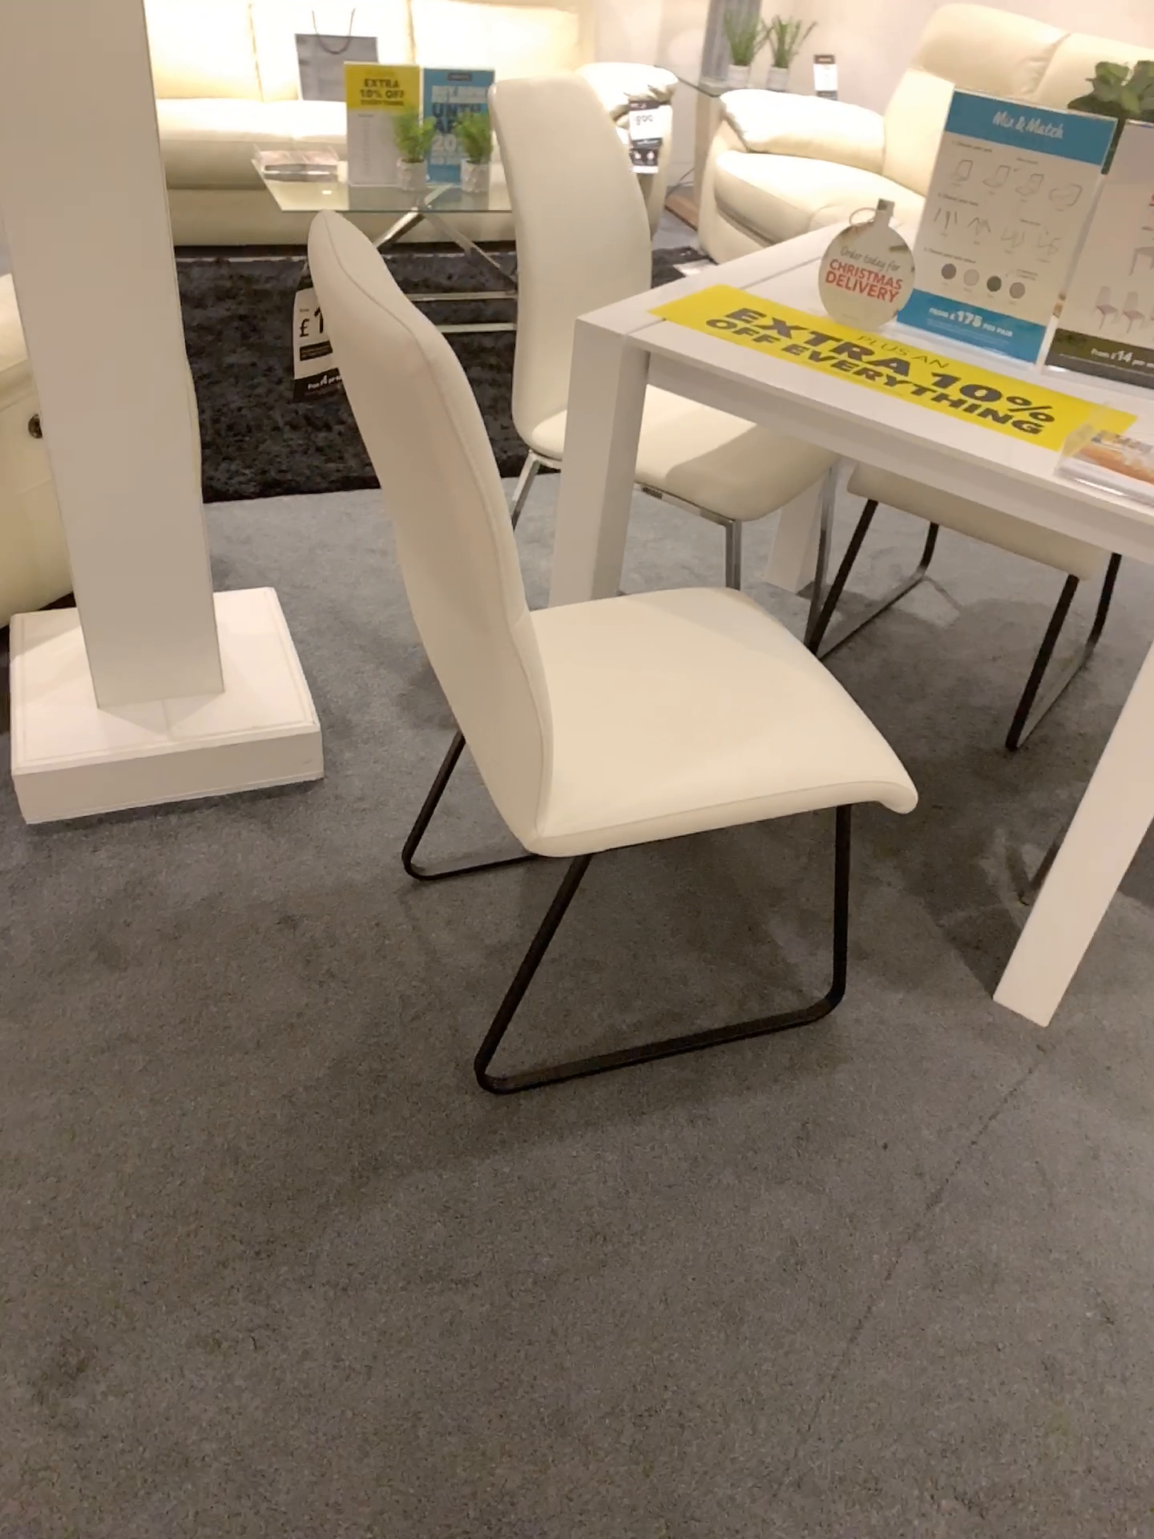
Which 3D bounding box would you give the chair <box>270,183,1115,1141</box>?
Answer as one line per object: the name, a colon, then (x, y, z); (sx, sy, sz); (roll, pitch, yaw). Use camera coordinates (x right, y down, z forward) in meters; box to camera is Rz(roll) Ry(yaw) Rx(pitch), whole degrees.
chair: (0.038, -0.136, 1.387); (0.631, 0.891, 0.545); (-10, 41, -20)
